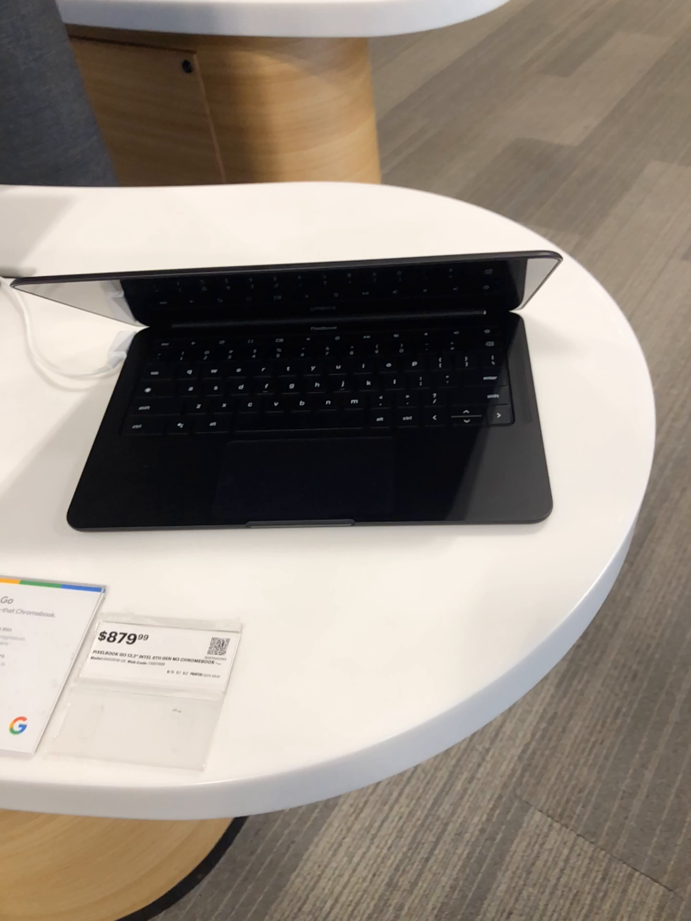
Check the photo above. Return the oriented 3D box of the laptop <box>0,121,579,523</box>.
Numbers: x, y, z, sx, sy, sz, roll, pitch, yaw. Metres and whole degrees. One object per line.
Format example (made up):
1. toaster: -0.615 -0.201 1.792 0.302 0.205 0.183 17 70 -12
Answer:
1. laptop: -0.019 -0.087 0.468 0.278 0.146 0.192 -1 47 4
